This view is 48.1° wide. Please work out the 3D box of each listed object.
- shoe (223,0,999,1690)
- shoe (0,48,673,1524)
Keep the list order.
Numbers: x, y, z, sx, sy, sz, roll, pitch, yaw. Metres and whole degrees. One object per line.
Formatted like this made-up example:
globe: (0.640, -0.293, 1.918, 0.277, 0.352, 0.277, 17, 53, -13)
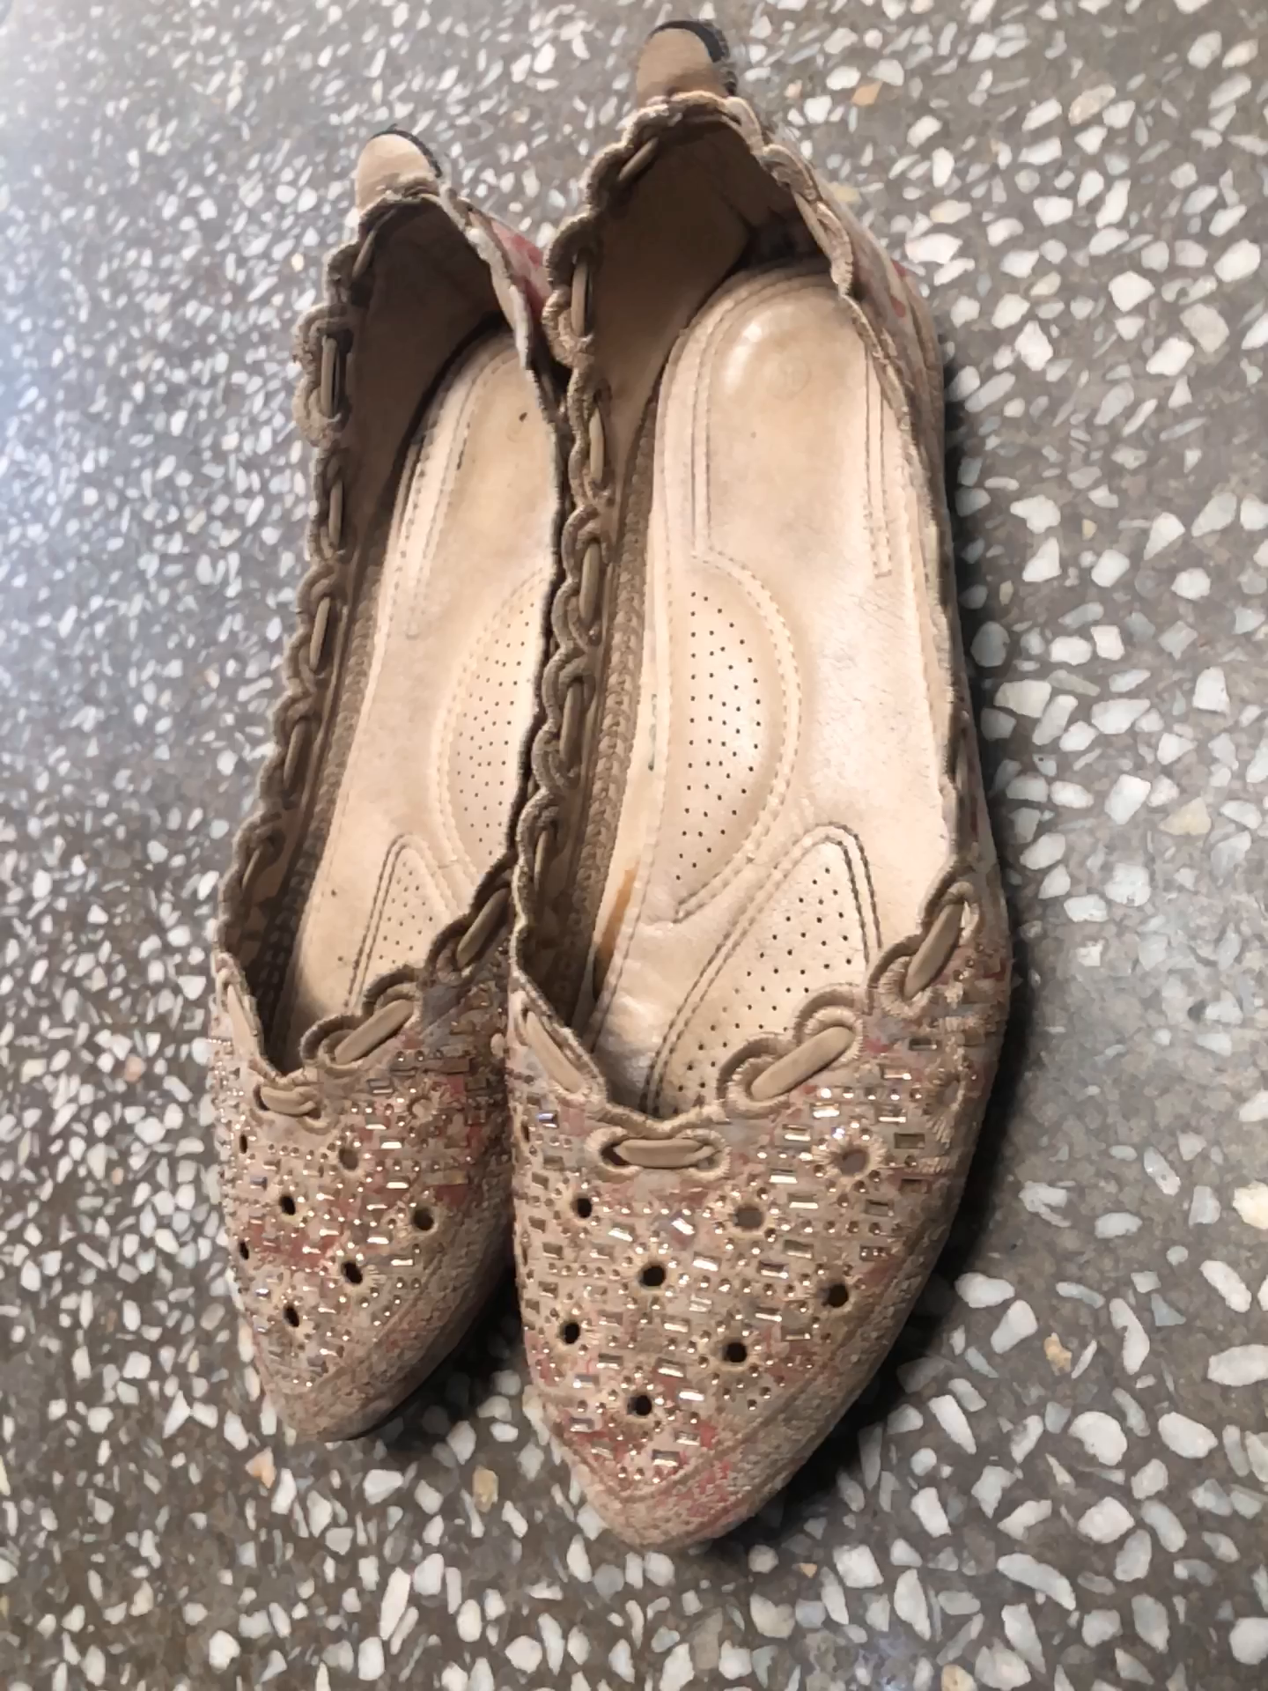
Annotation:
shoe: (0.006, -0.015, 0.239, 0.090, 0.068, 0.254, -5, 72, 31)
shoe: (-0.062, -0.015, 0.286, 0.090, 0.068, 0.254, -1, 74, 32)
